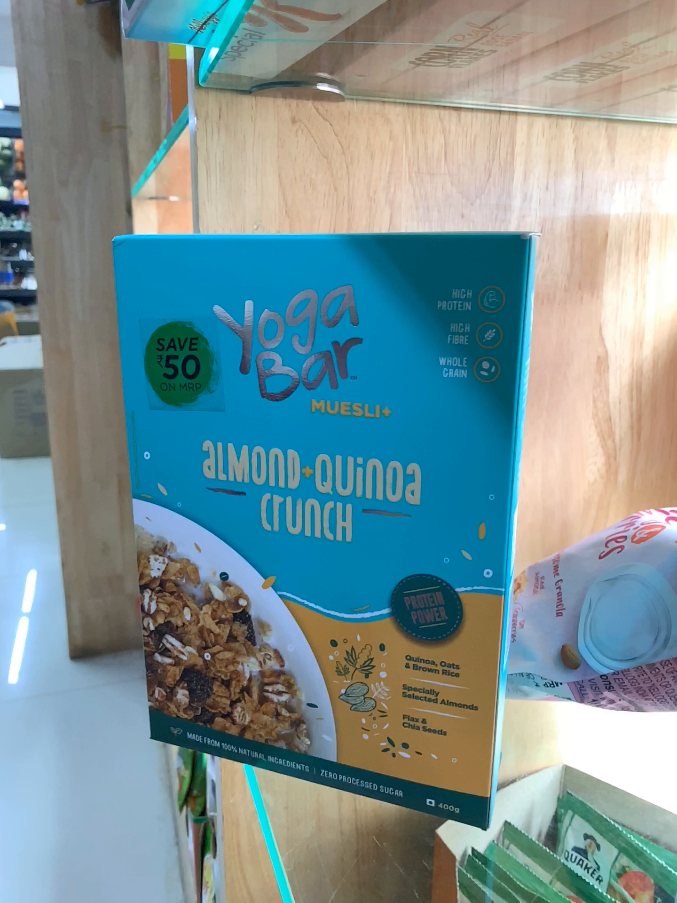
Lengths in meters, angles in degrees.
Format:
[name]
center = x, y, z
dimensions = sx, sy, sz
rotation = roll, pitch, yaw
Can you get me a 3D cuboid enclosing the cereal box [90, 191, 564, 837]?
[cereal box]
center = -0.005, 0.017, 0.280
dimensions = 0.160, 0.219, 0.060
rotation = 6, 15, 19
